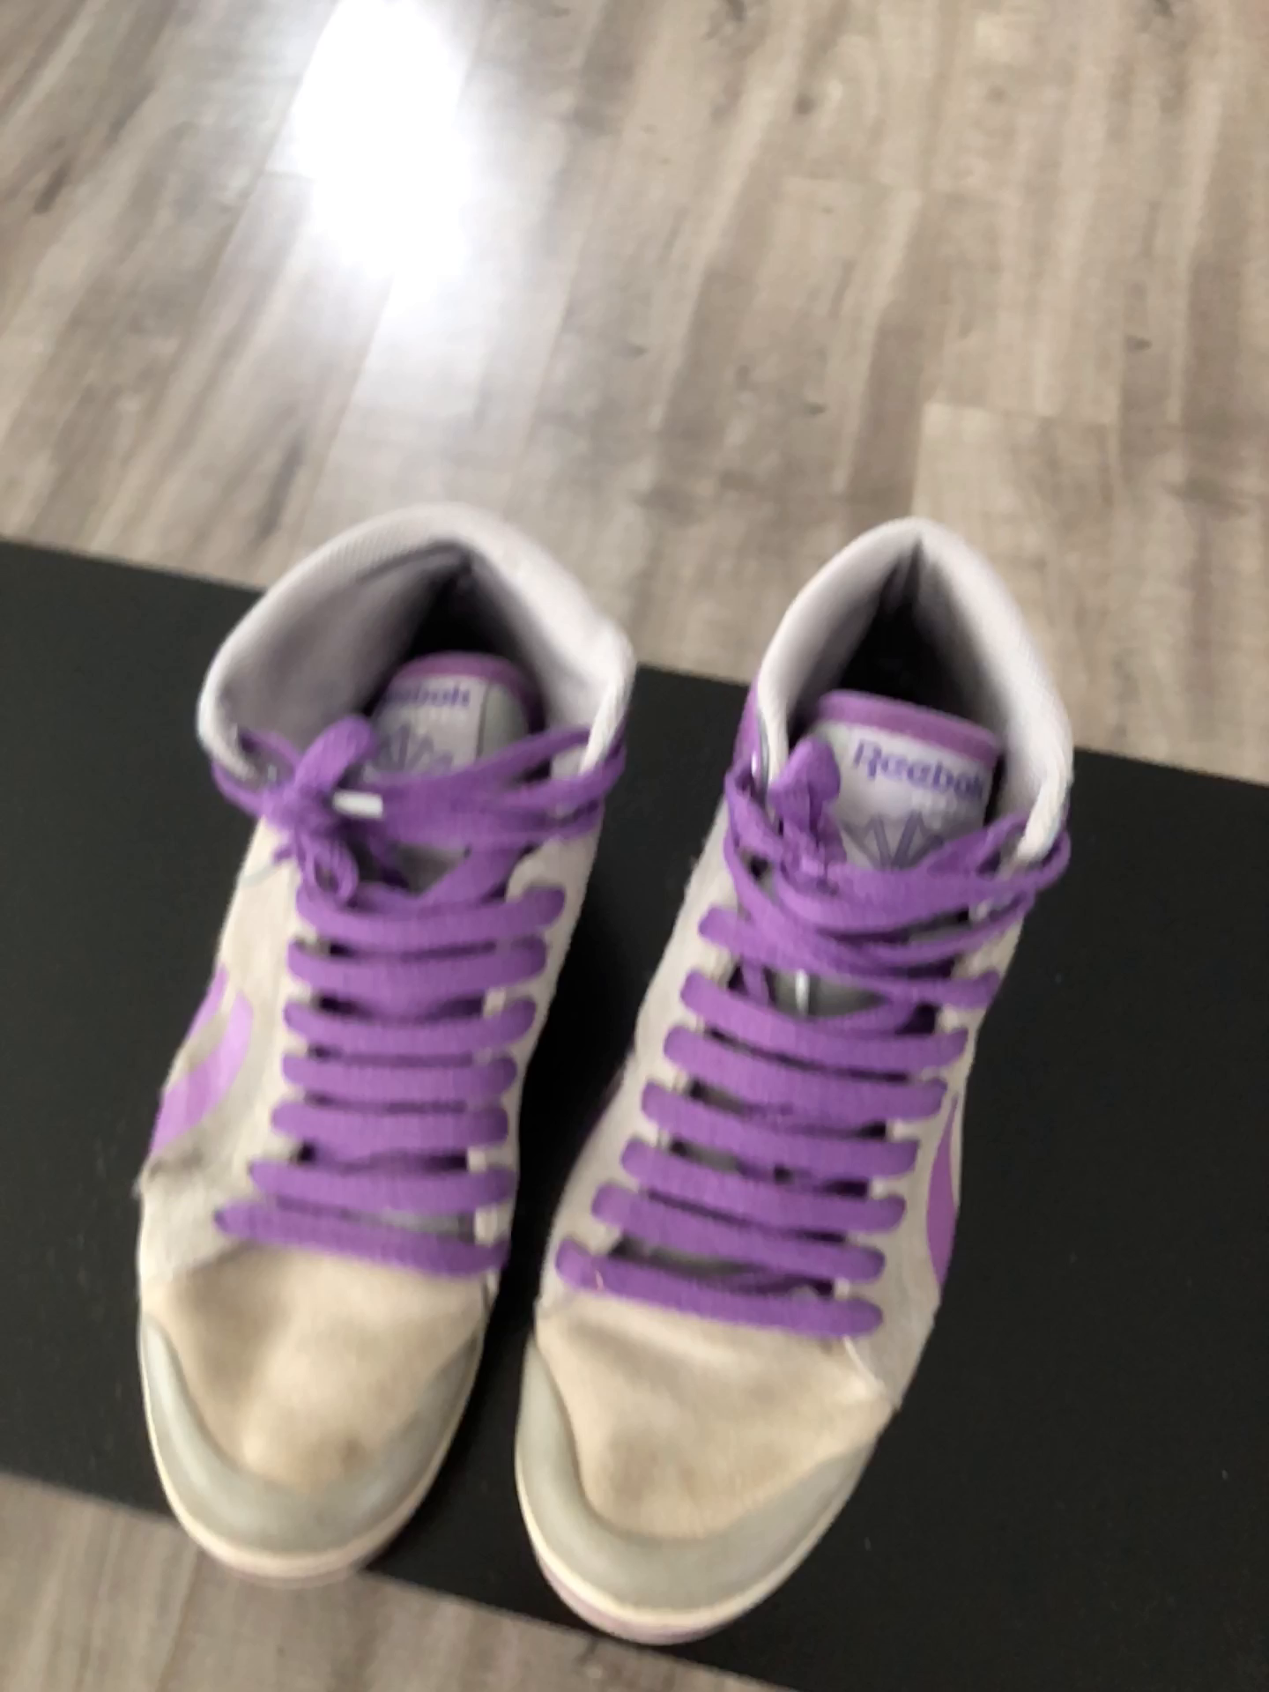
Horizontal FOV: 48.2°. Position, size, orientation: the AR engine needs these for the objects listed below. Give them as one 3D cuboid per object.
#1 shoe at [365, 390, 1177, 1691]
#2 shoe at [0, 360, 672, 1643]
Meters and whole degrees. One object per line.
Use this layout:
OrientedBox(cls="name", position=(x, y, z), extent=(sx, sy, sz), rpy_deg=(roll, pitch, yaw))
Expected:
OrientedBox(cls="shoe", position=(0.038, 0.037, 0.308), extent=(0.090, 0.110, 0.240), rpy_deg=(16, 64, 8))
OrientedBox(cls="shoe", position=(-0.057, 0.030, 0.314), extent=(0.100, 0.120, 0.240), rpy_deg=(7, 63, 3))
